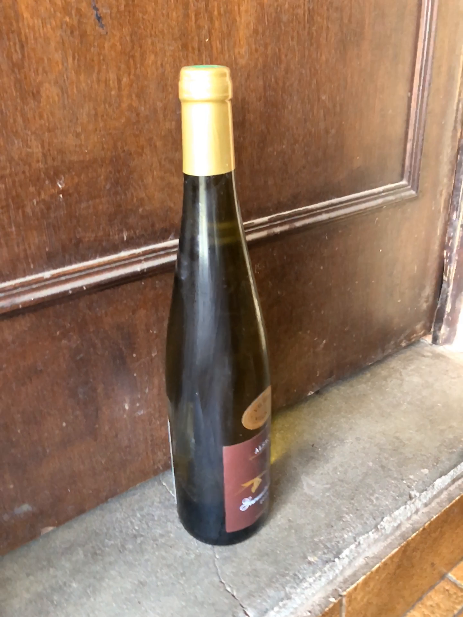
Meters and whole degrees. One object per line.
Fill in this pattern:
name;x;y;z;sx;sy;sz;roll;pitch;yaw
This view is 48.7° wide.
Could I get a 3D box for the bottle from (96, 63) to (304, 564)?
bottle;-0.007;0.013;0.333;0.080;0.308;0.081;-2;25;1
